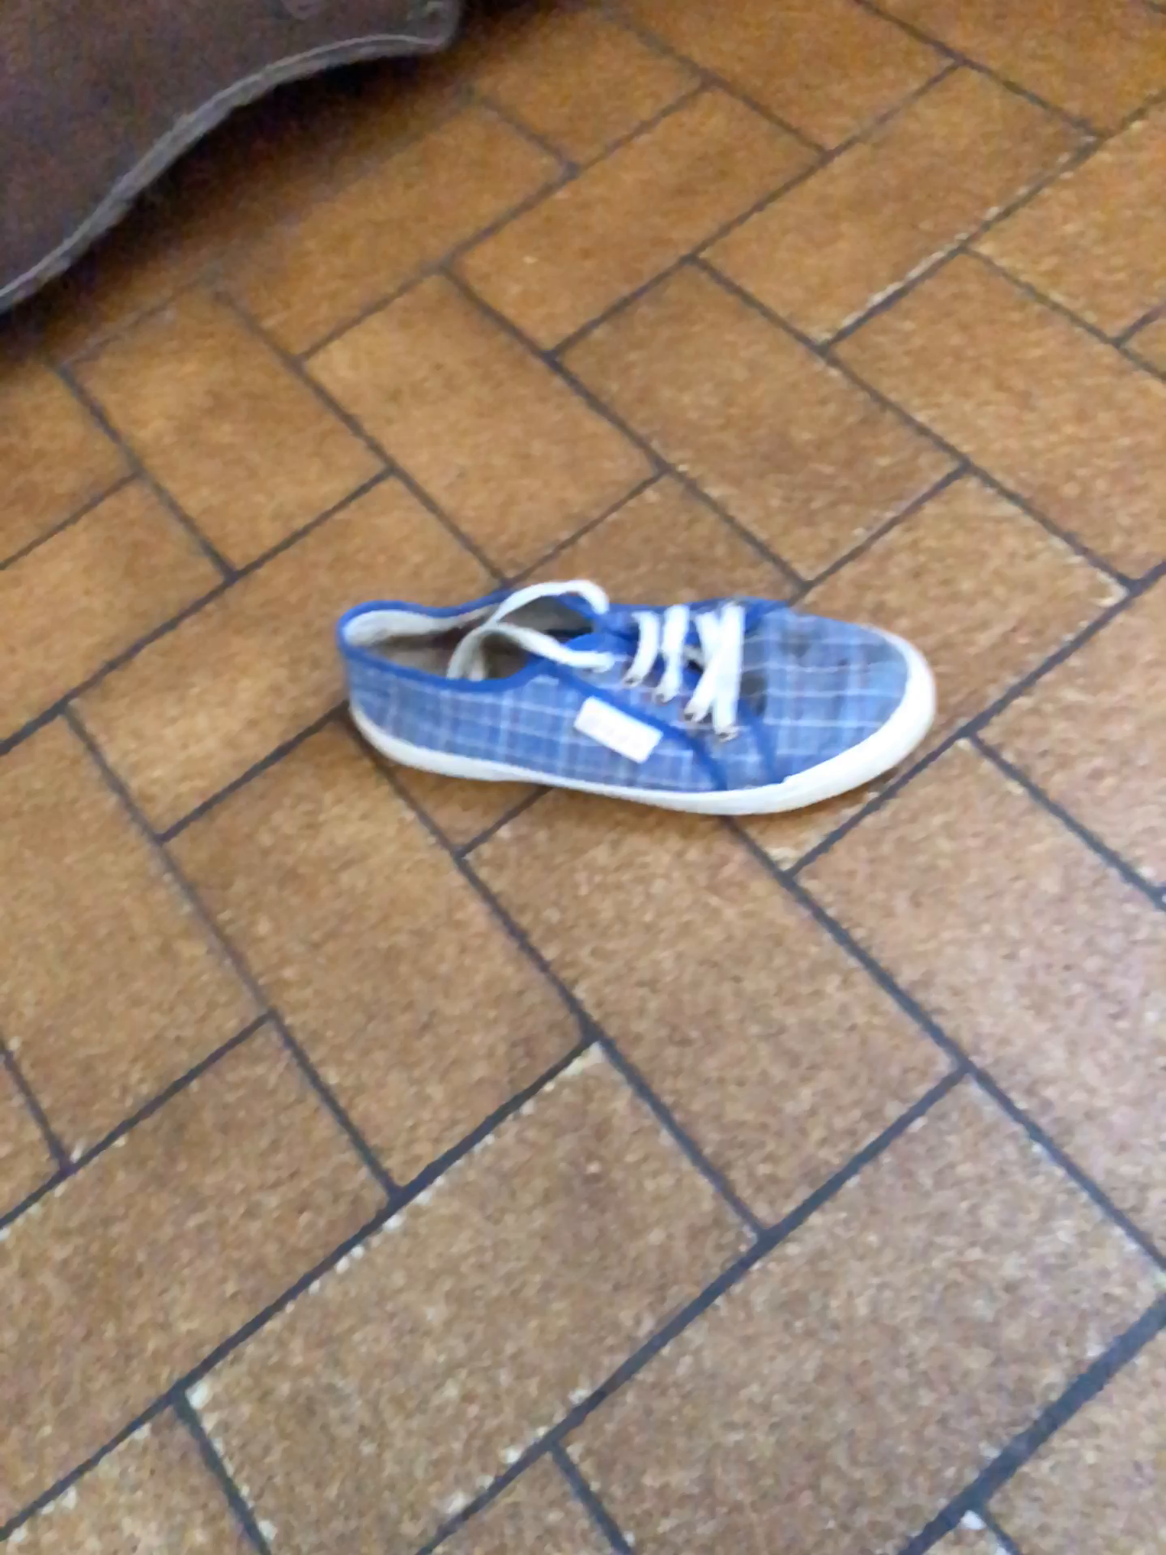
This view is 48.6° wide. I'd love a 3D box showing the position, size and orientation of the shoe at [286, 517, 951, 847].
[{"bbox_3d":[0.018,-0.035,0.518,0.240,0.080,0.100,0,64,10],"label":"shoe"}]
